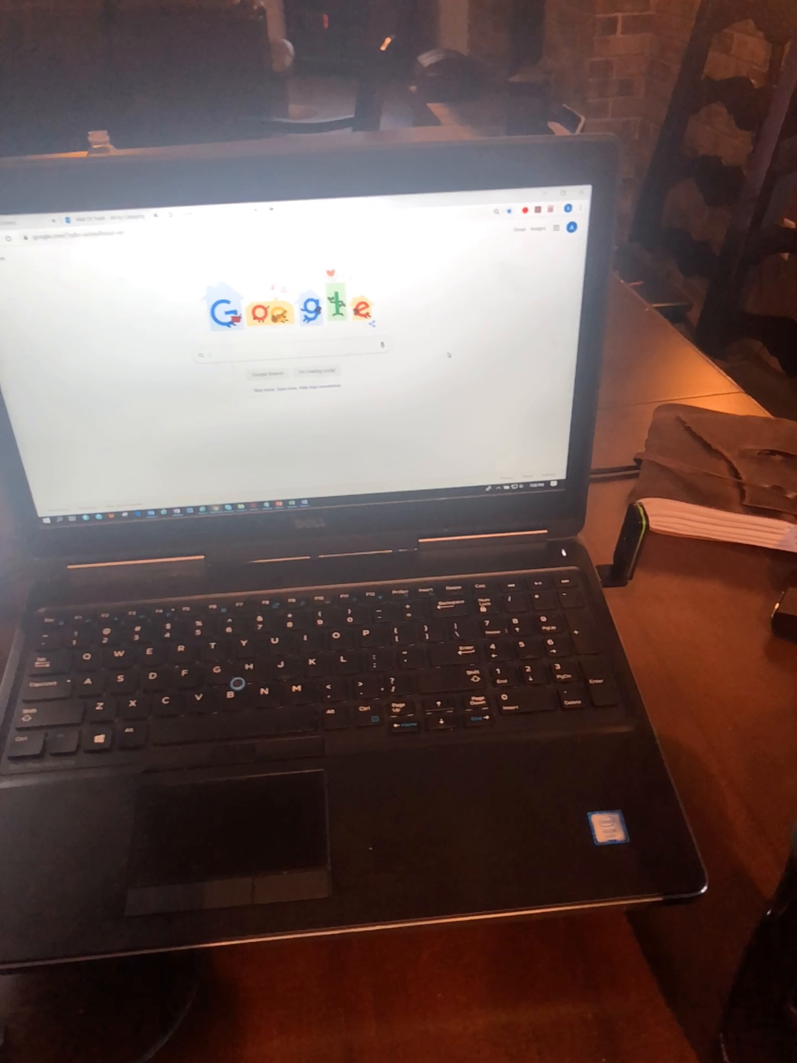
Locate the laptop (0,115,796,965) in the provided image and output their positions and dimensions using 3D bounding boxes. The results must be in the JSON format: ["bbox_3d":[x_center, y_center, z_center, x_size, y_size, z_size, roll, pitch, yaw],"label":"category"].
[{"bbox_3d":[-0.050,-0.019,0.442,0.367,0.258,0.287,-4,38,-4],"label":"laptop"}]
